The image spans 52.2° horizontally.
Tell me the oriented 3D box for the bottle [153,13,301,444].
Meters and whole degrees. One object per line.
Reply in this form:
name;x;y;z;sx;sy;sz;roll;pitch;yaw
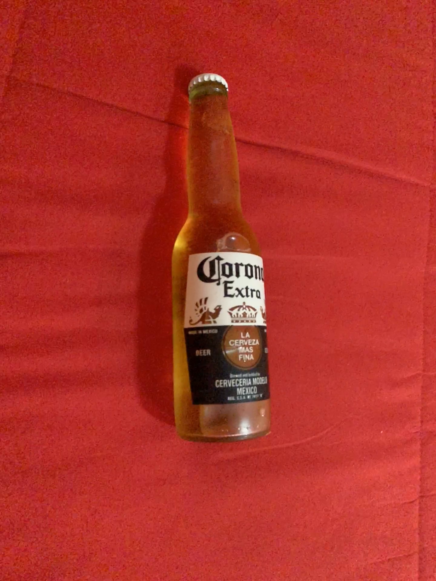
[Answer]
bottle;0.002;-0.037;0.302;0.070;0.070;0.250;1;85;-27
